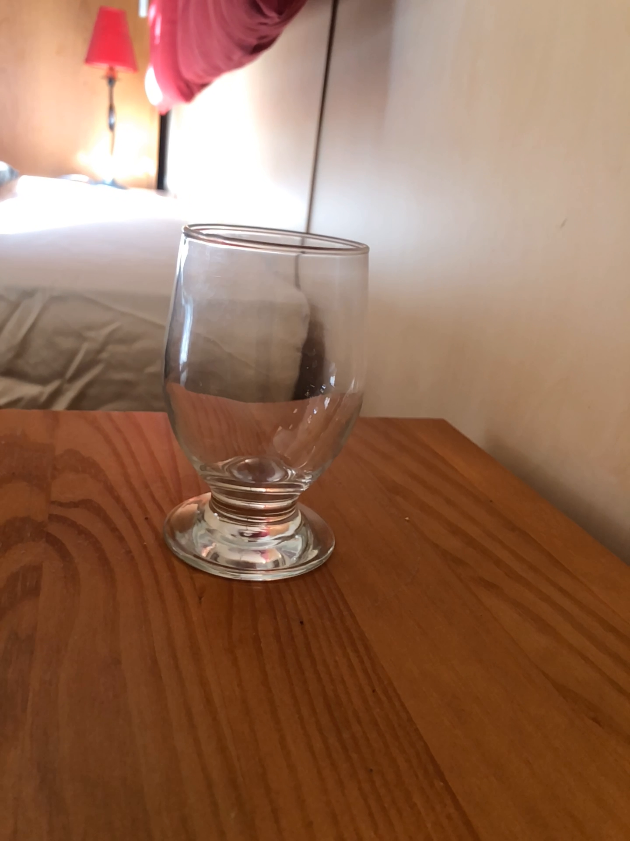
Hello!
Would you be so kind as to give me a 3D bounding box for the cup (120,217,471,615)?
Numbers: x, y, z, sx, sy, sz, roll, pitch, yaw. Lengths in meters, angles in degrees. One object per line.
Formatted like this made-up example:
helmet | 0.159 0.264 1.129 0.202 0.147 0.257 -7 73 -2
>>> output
cup | -0.012 -0.009 0.249 0.082 0.107 0.078 7 19 -3
